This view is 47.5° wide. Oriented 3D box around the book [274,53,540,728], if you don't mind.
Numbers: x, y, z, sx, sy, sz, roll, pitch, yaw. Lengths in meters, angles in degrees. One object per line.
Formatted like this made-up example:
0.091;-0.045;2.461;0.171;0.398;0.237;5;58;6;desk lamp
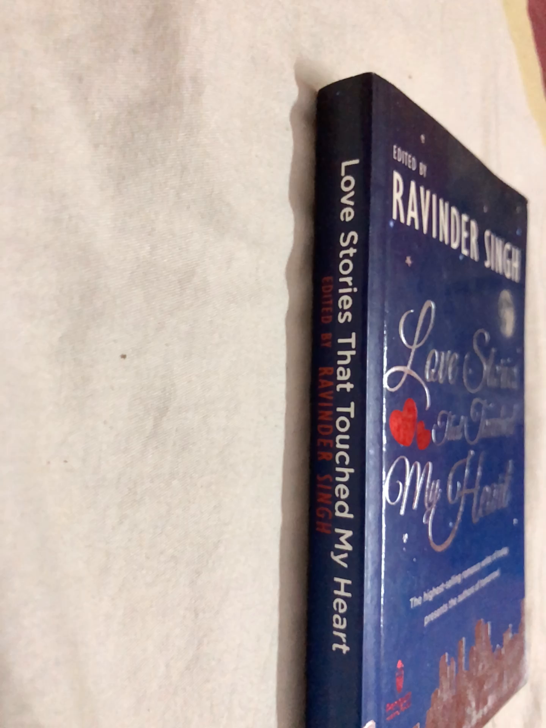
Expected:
0.057;0.027;0.218;0.131;0.030;0.210;5;86;-50;book
